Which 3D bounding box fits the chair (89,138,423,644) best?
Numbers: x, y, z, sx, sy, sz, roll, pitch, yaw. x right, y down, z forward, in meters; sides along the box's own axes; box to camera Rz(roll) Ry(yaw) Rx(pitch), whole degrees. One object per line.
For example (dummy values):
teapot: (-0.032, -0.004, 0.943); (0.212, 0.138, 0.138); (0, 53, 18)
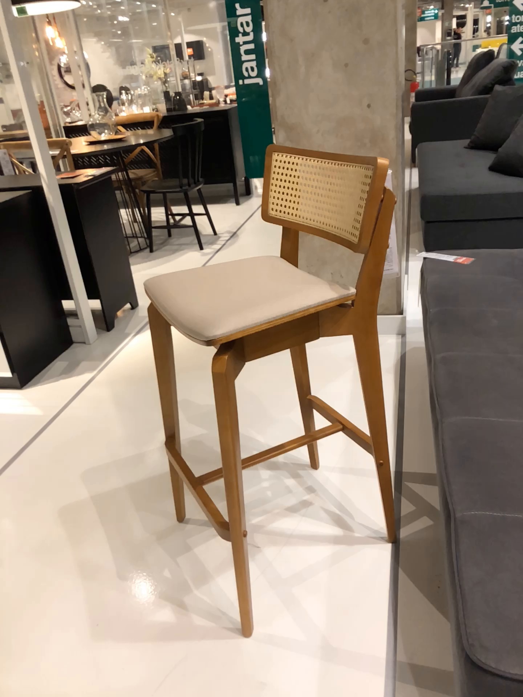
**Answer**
chair: (0.016, 0.058, 1.350); (0.521, 0.963, 0.473); (-18, 27, -22)
